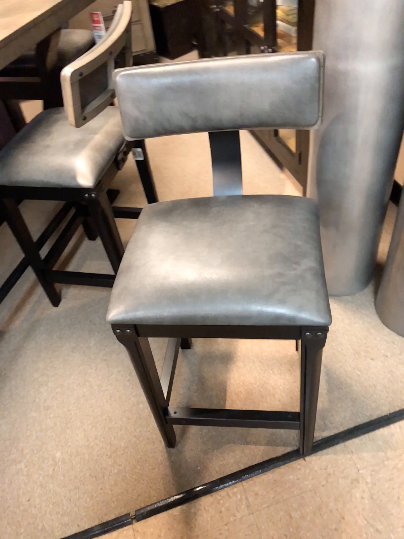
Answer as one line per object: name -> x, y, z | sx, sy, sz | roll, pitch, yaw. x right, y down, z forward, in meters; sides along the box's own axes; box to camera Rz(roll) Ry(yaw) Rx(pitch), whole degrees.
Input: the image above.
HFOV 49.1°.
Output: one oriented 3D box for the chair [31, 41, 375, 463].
chair -> 0.058, 0.033, 1.025 | 0.440, 0.864, 0.463 | -1, 46, 8
